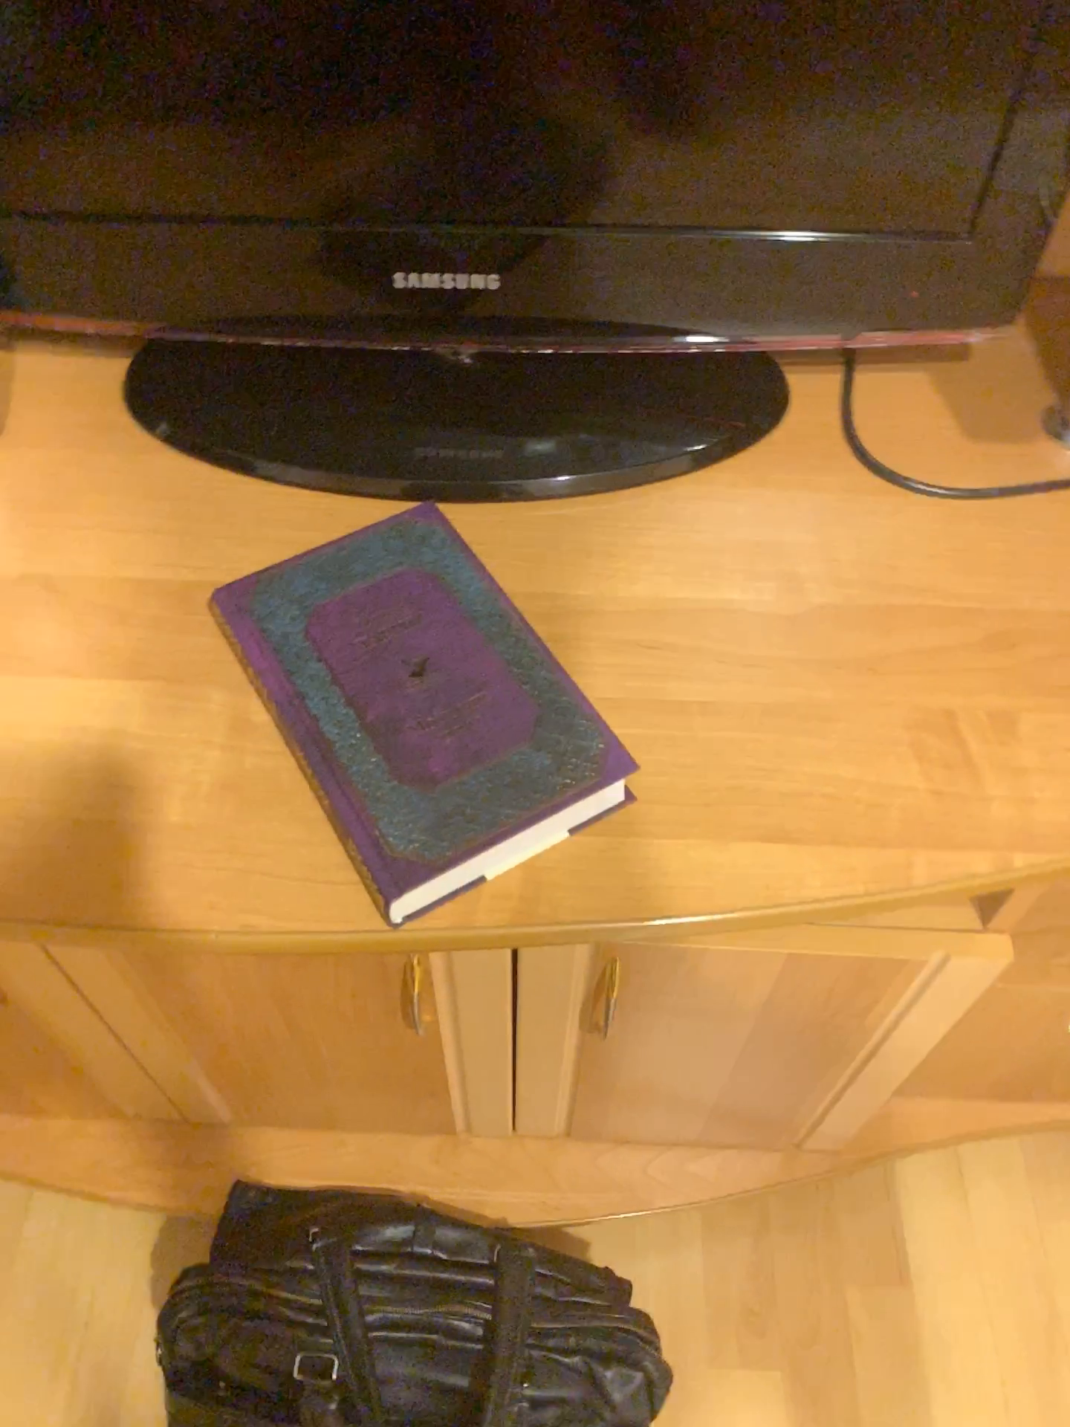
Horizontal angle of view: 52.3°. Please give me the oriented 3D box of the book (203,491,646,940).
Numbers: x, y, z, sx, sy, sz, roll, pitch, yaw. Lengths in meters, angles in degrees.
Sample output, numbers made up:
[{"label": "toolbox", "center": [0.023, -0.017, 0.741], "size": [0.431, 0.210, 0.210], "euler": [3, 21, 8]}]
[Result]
[{"label": "book", "center": [-0.058, -0.010, 0.532], "size": [0.130, 0.040, 0.201], "euler": [-26, 59, -18]}]
